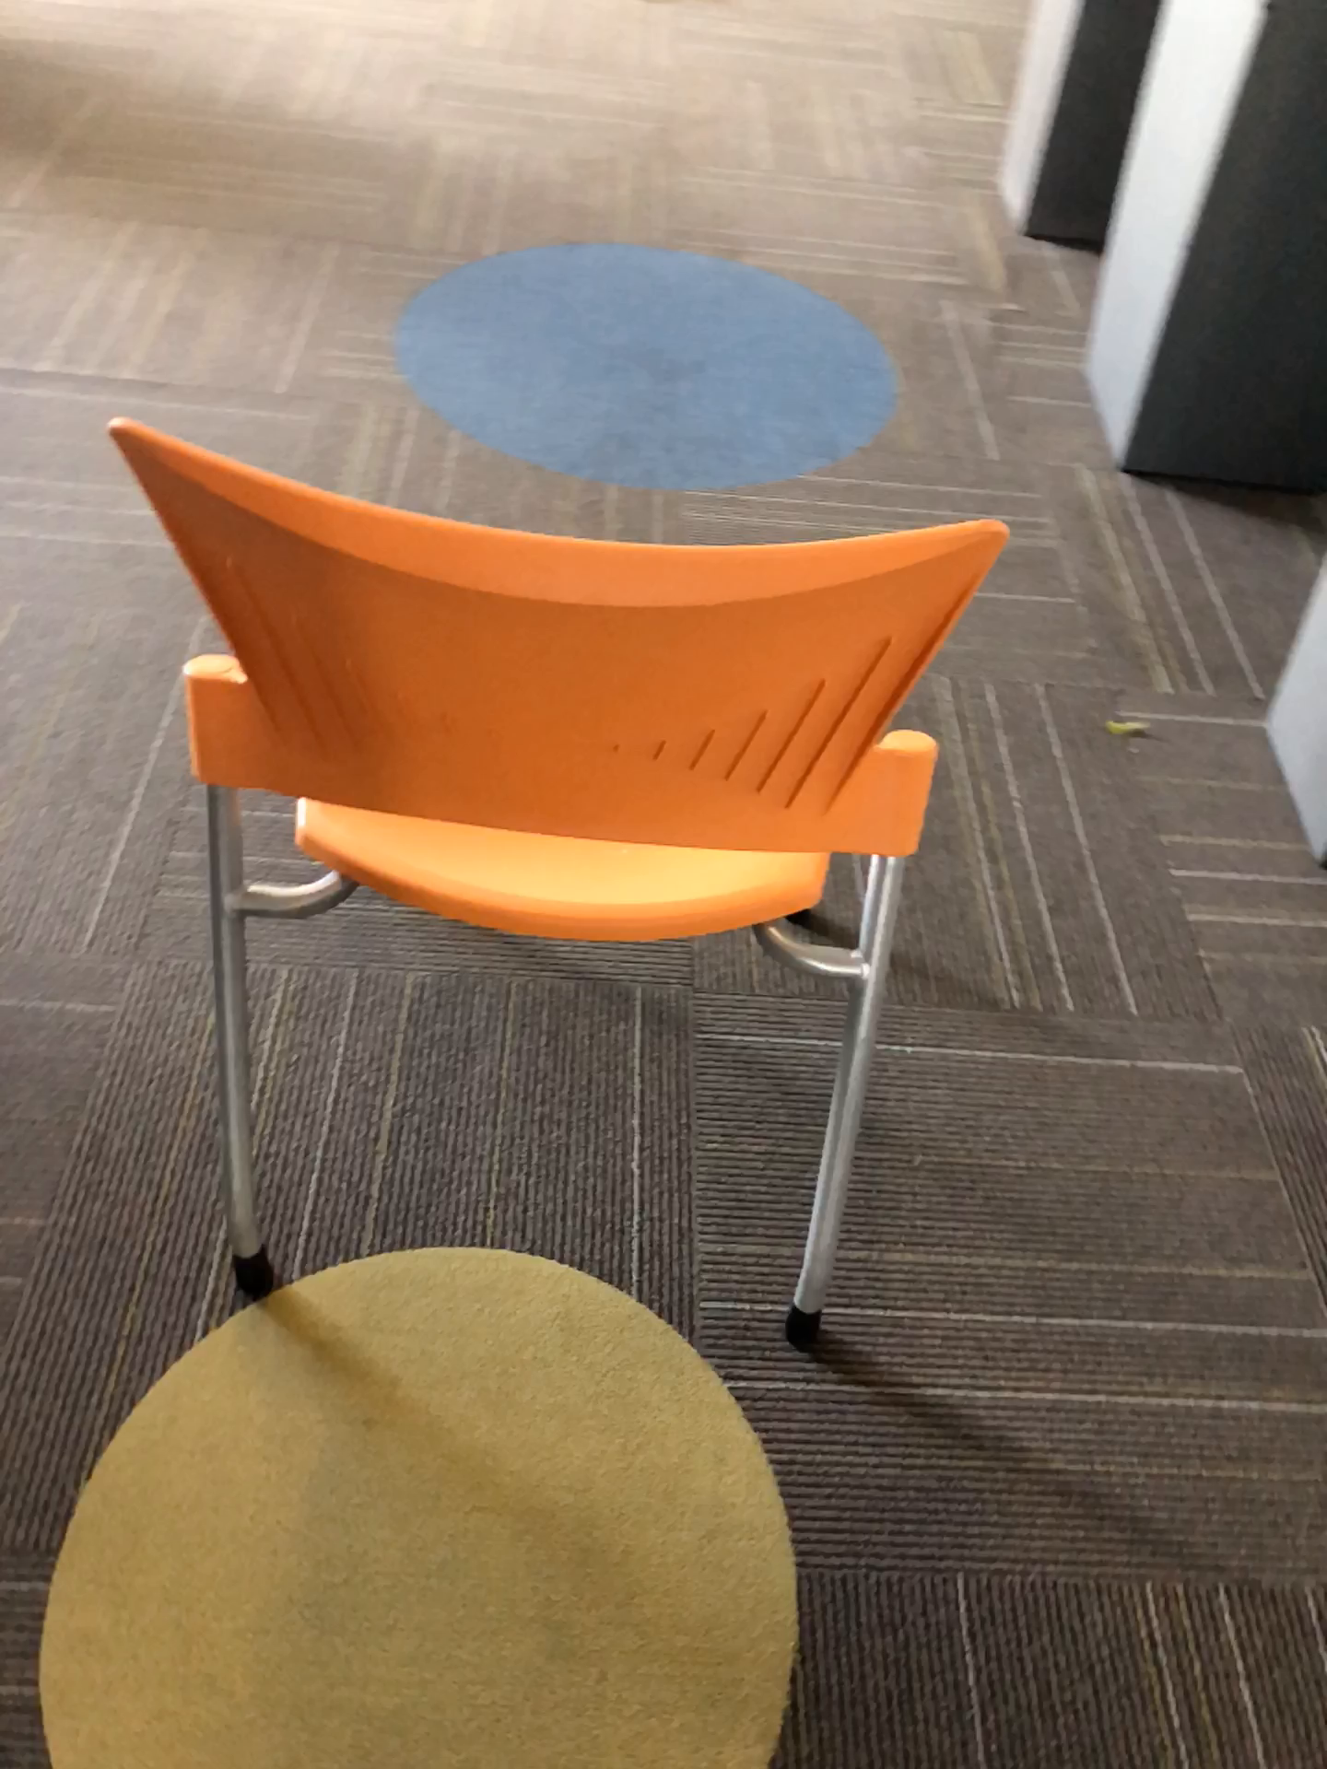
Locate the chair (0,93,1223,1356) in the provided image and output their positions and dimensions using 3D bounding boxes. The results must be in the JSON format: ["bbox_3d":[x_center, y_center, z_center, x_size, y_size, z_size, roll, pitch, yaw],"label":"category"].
[{"bbox_3d":[-0.064,-0.105,1.195,0.640,0.747,0.613,6,45,-2],"label":"chair"}]
